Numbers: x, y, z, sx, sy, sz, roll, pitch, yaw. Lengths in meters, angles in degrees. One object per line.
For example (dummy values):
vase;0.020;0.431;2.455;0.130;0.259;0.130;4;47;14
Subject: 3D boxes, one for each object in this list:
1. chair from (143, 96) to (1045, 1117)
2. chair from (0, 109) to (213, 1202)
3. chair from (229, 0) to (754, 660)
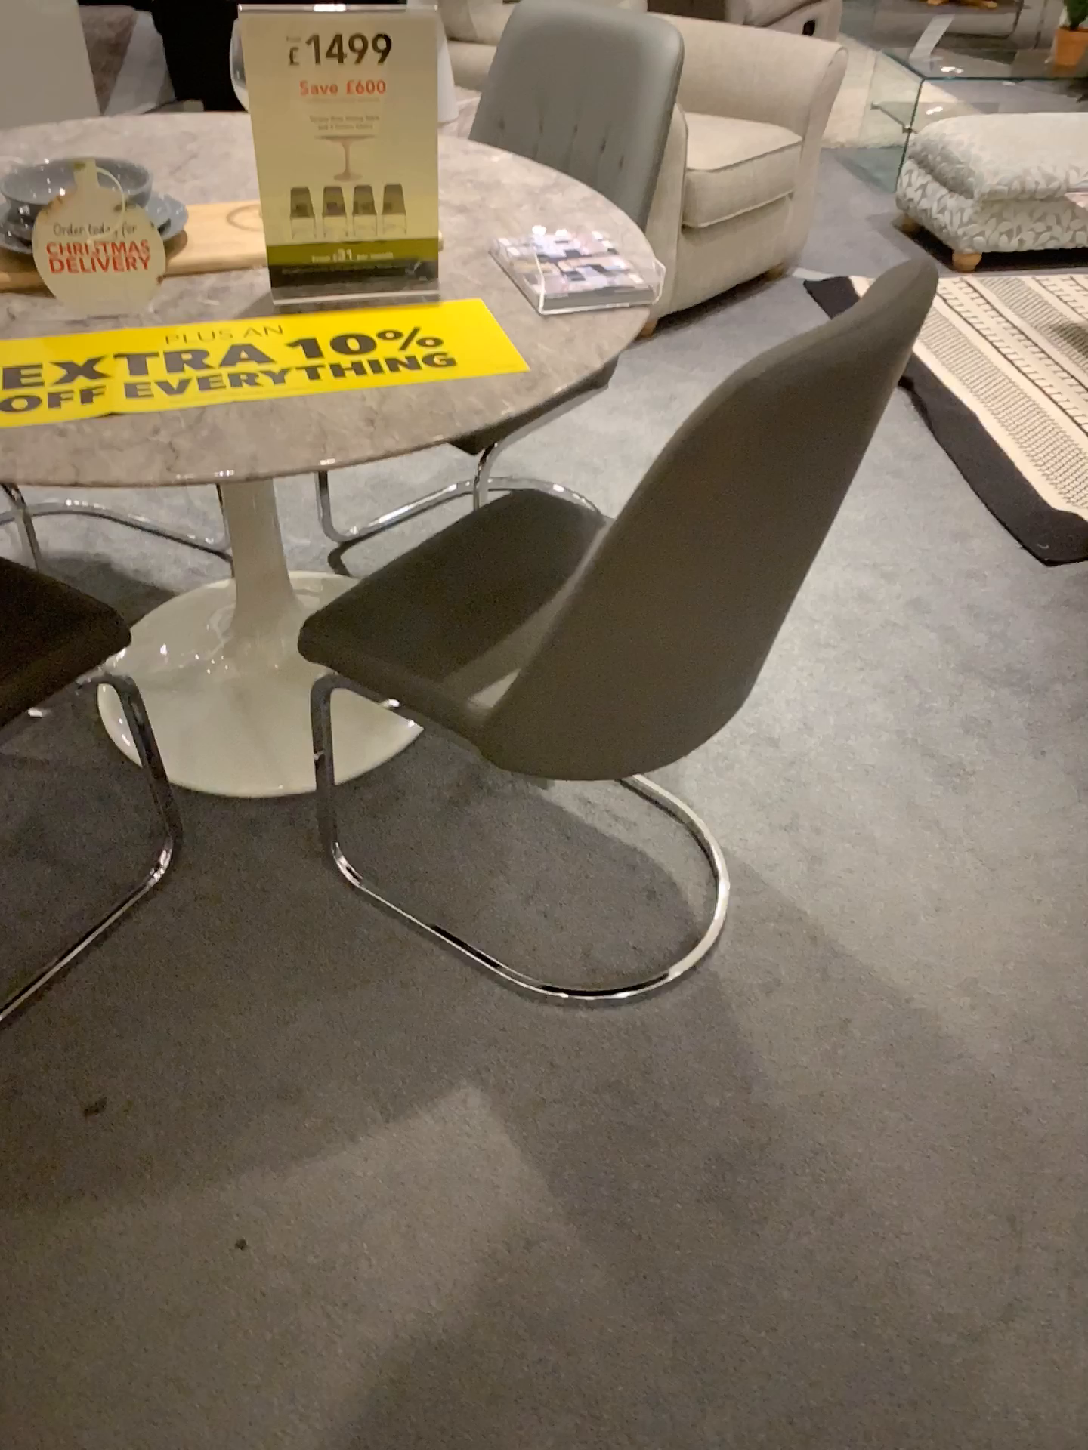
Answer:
chair;0.039;-0.146;1.314;0.631;0.882;0.554;30;48;27
chair;-0.827;-0.069;1.191;0.521;0.882;0.583;23;46;21
chair;-0.082;-0.705;1.926;0.522;0.882;0.582;31;49;27
